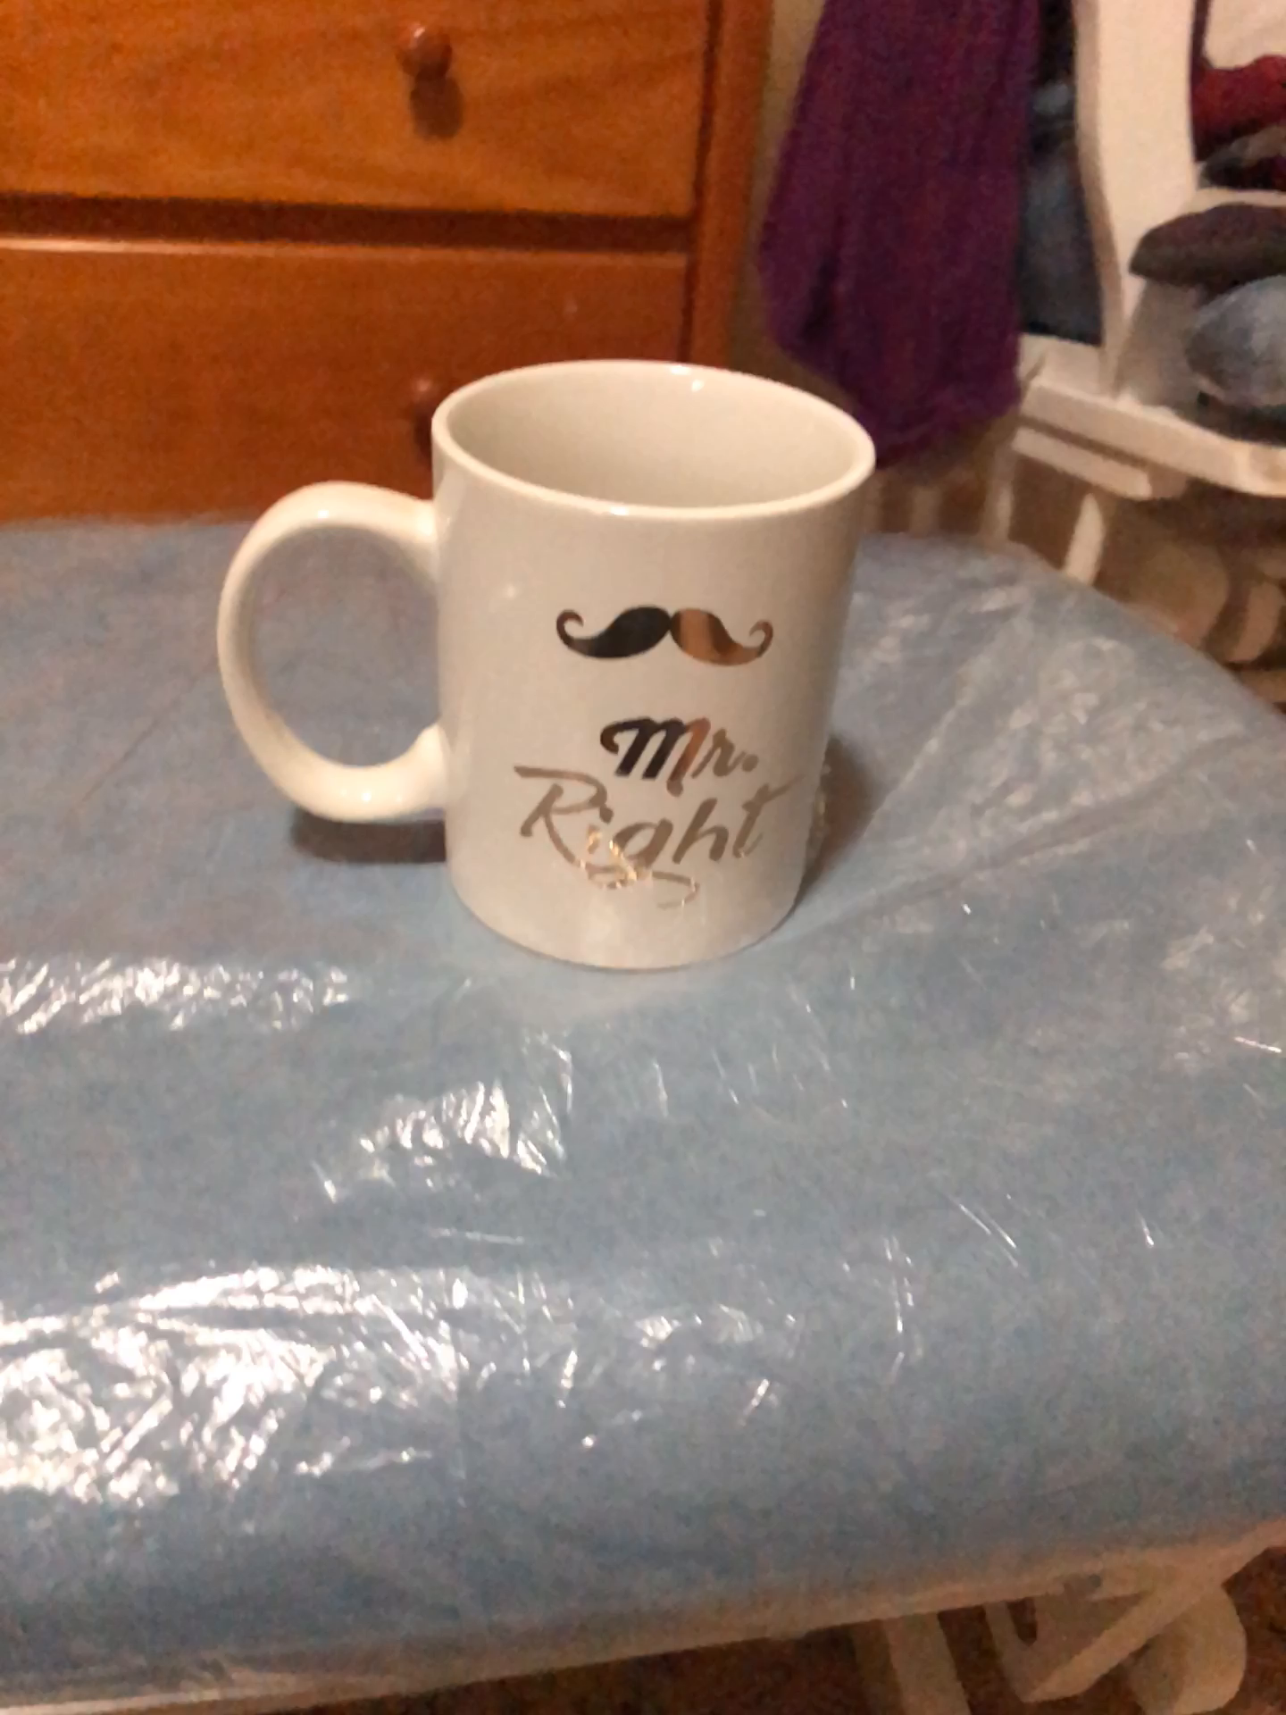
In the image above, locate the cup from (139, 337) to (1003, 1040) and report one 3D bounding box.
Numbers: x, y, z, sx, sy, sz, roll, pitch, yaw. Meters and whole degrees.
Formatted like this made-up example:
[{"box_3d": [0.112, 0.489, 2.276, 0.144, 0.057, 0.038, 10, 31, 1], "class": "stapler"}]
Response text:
[{"box_3d": [-0.018, -0.038, 0.303, 0.140, 0.110, 0.100, 0, 33, -7], "class": "cup"}]
